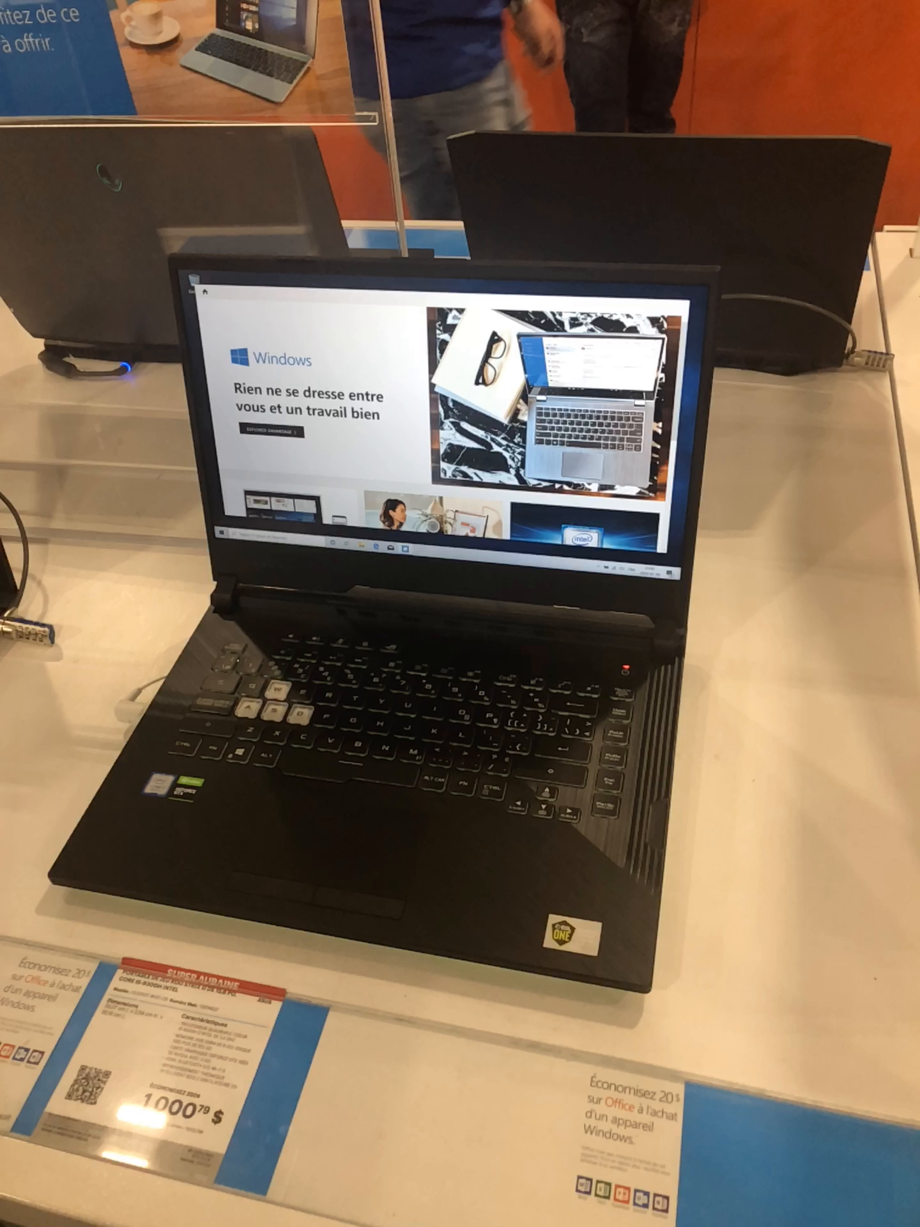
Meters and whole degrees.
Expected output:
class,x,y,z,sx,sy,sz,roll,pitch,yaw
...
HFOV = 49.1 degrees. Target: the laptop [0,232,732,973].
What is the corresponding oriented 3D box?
class,x,y,z,sx,sy,sz,roll,pitch,yaw
laptop,-0.042,-0.032,0.622,0.363,0.236,0.345,5,46,13
